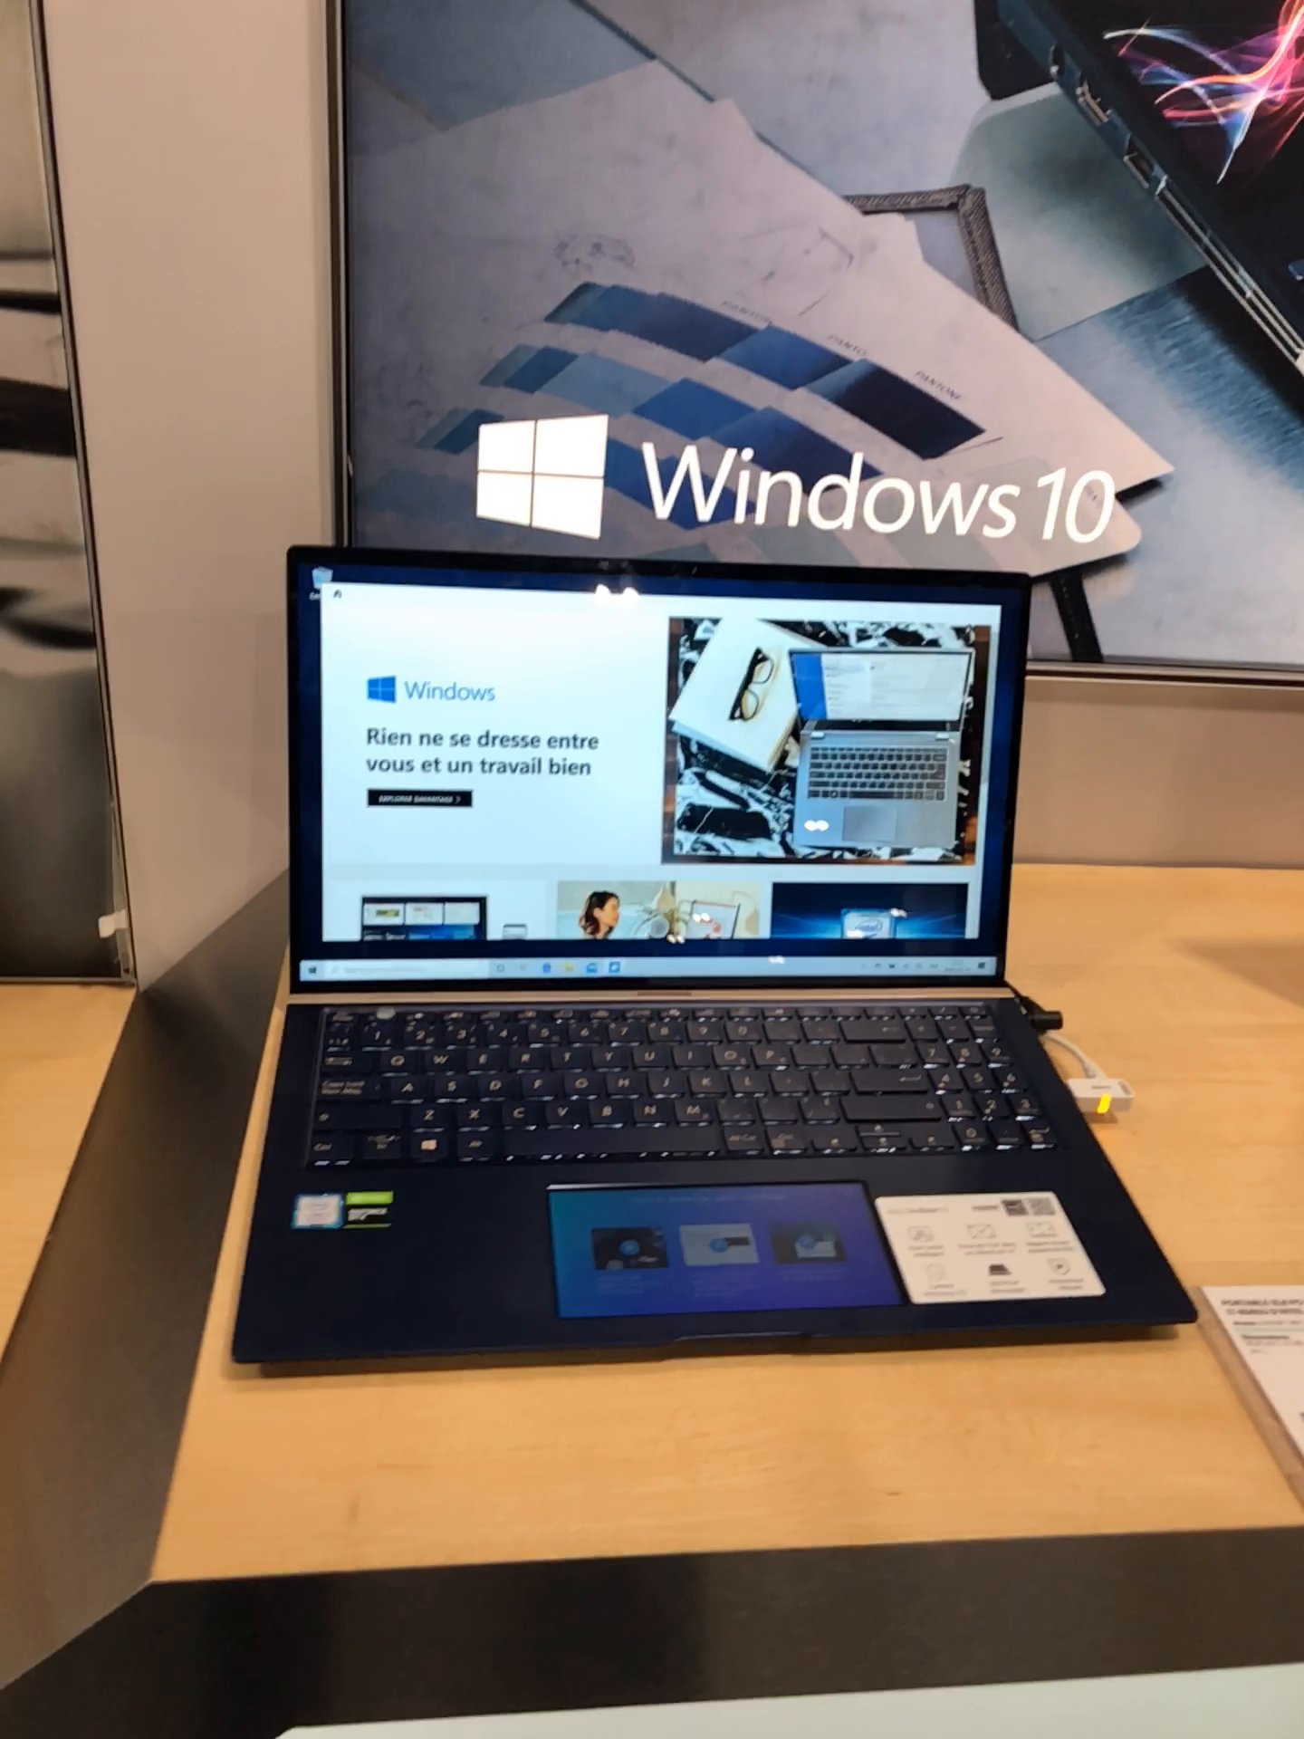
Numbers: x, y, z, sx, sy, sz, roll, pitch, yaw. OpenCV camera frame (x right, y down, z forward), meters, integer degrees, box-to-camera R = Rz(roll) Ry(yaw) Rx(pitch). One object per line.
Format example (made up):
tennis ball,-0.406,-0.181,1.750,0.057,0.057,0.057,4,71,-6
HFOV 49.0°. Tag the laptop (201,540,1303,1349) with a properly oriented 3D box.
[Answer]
laptop,0.019,0.011,0.571,0.338,0.183,0.274,1,30,-9
